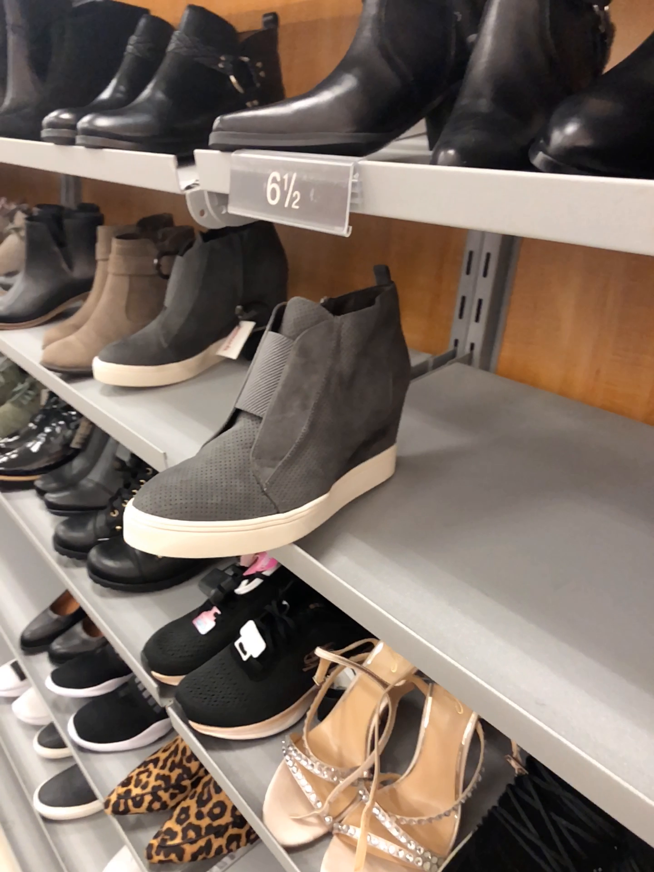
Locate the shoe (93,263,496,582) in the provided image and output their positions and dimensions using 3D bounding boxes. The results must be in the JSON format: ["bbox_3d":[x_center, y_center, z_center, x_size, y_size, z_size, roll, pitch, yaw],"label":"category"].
[{"bbox_3d":[-0.017,-0.027,0.531,0.274,0.173,0.104,-9,24,-40],"label":"shoe"}]

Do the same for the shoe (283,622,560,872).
[{"bbox_3d":[0.084,0.262,0.593,0.248,0.089,0.083,-20,31,-41],"label":"shoe"}]

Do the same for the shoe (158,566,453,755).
[{"bbox_3d":[-0.019,0.216,0.736,0.278,0.065,0.110,-8,23,-28],"label":"shoe"}]

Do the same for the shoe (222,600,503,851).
[{"bbox_3d":[0.037,0.243,0.645,0.250,0.085,0.084,-14,27,-36],"label":"shoe"}]

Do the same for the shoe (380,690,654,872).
[{"bbox_3d":[0.182,0.305,0.546,0.278,0.068,0.104,-14,27,-32],"label":"shoe"}]
